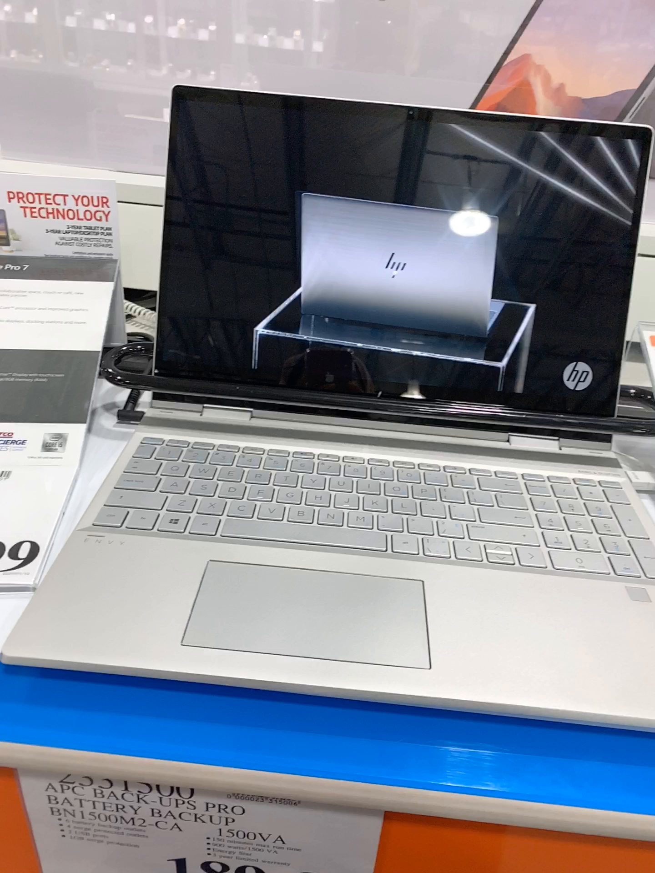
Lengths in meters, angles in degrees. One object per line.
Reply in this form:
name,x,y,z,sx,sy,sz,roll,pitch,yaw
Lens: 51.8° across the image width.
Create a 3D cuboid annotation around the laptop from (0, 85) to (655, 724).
laptop,0.040,-0.063,0.395,0.346,0.210,0.341,5,31,0
